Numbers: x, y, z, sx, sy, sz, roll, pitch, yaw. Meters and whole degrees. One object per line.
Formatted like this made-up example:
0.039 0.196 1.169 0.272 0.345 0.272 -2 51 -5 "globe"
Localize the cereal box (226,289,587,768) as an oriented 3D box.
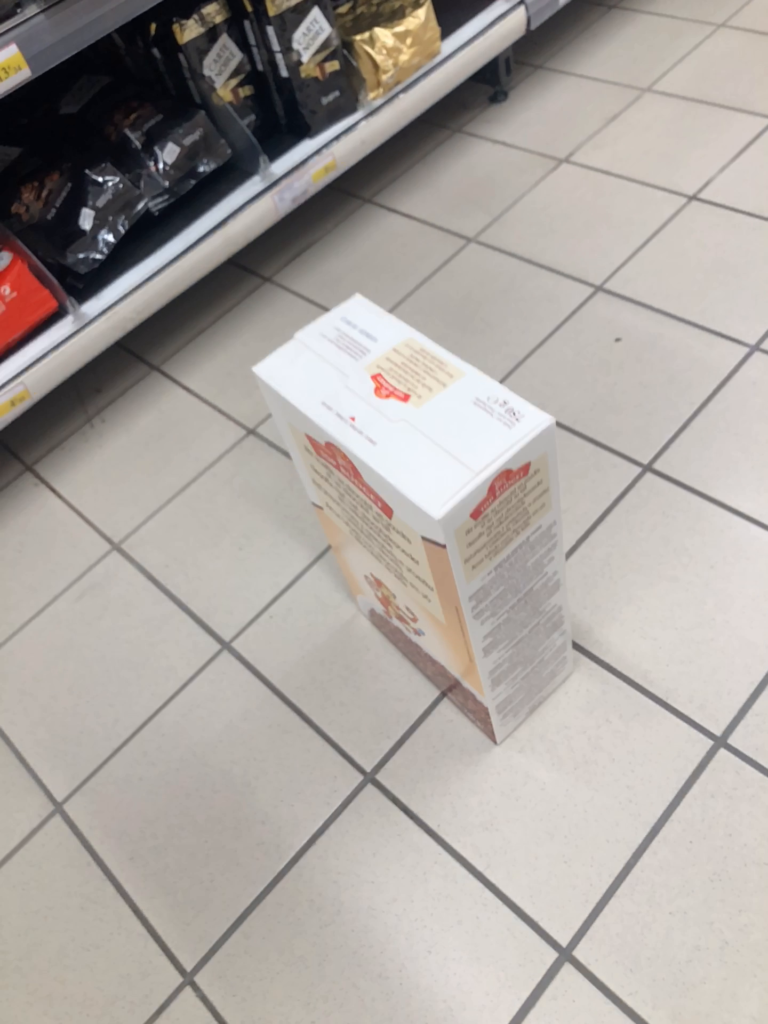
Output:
0.034 0.026 0.650 0.110 0.319 0.210 -38 53 -15 "cereal box"
